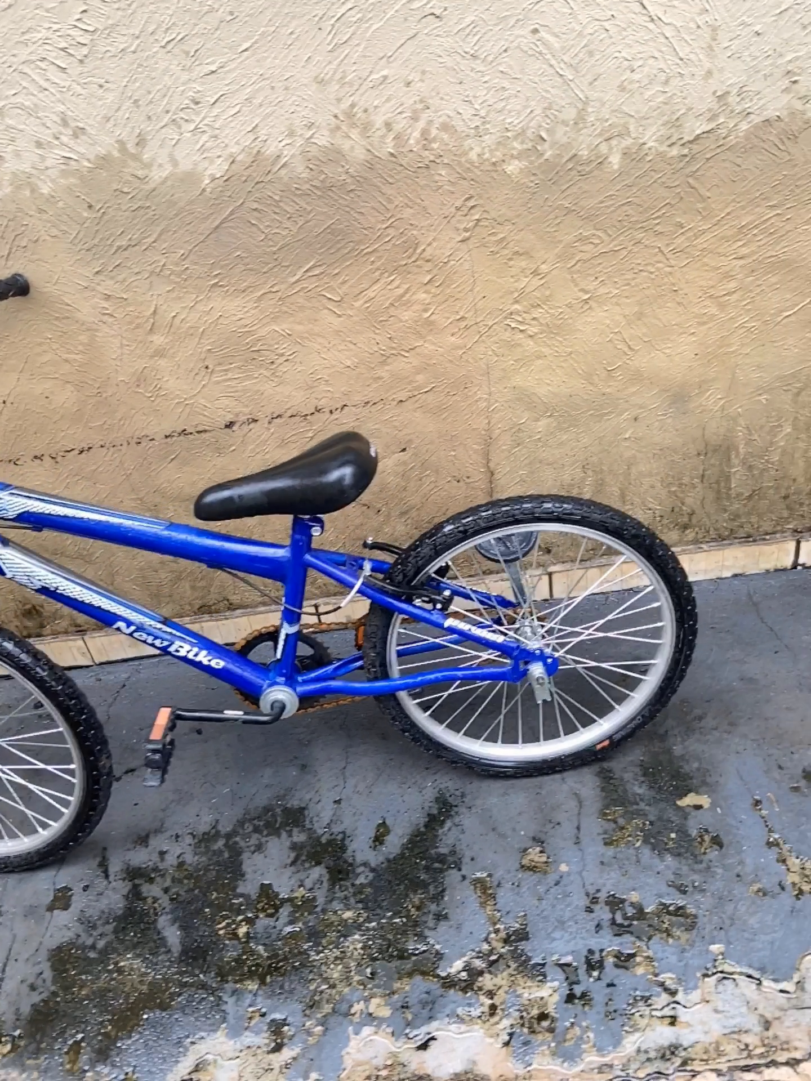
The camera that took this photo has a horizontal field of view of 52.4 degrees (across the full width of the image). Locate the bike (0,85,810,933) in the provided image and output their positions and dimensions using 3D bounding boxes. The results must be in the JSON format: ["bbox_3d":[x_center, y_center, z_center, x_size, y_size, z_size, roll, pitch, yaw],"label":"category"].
[{"bbox_3d":[-0.265,-0.019,1.103,1.249,0.849,0.546,-7,36,2],"label":"bike"}]
